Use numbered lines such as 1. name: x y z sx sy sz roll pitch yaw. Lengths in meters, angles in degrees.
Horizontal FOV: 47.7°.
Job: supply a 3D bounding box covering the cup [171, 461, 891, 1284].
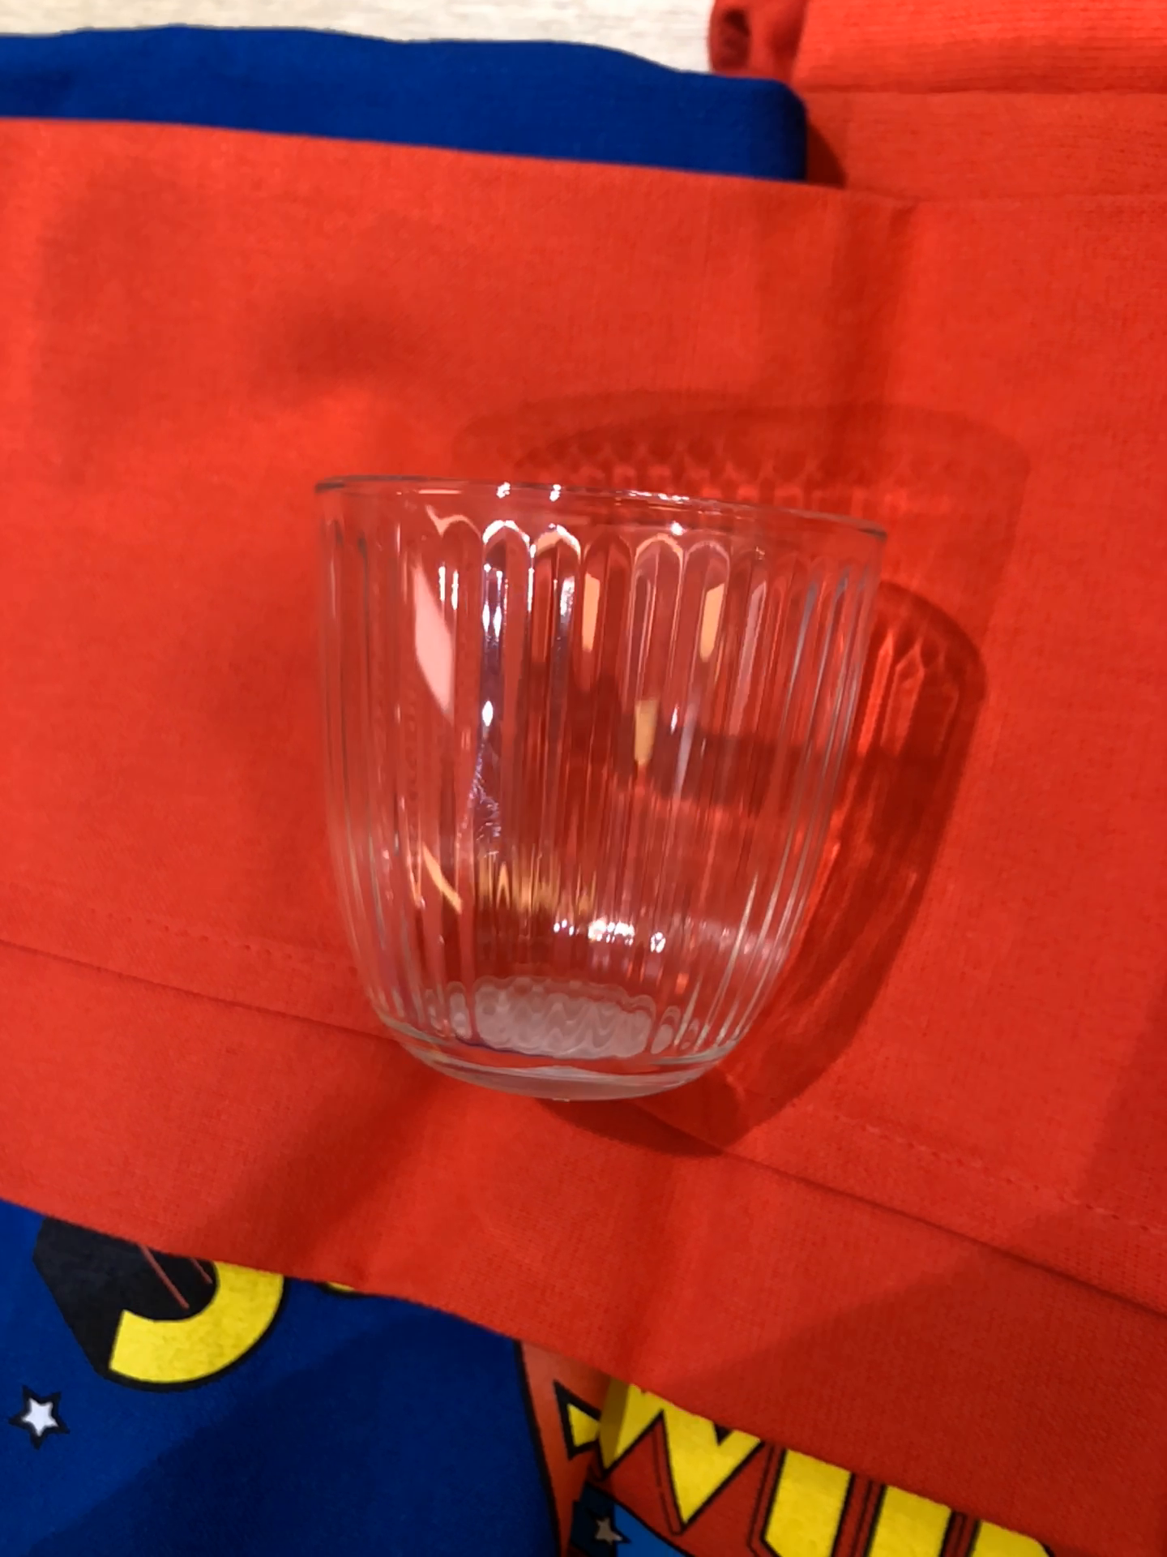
1. cup: -0.005 0.006 0.188 0.080 0.060 0.090 8 101 16
